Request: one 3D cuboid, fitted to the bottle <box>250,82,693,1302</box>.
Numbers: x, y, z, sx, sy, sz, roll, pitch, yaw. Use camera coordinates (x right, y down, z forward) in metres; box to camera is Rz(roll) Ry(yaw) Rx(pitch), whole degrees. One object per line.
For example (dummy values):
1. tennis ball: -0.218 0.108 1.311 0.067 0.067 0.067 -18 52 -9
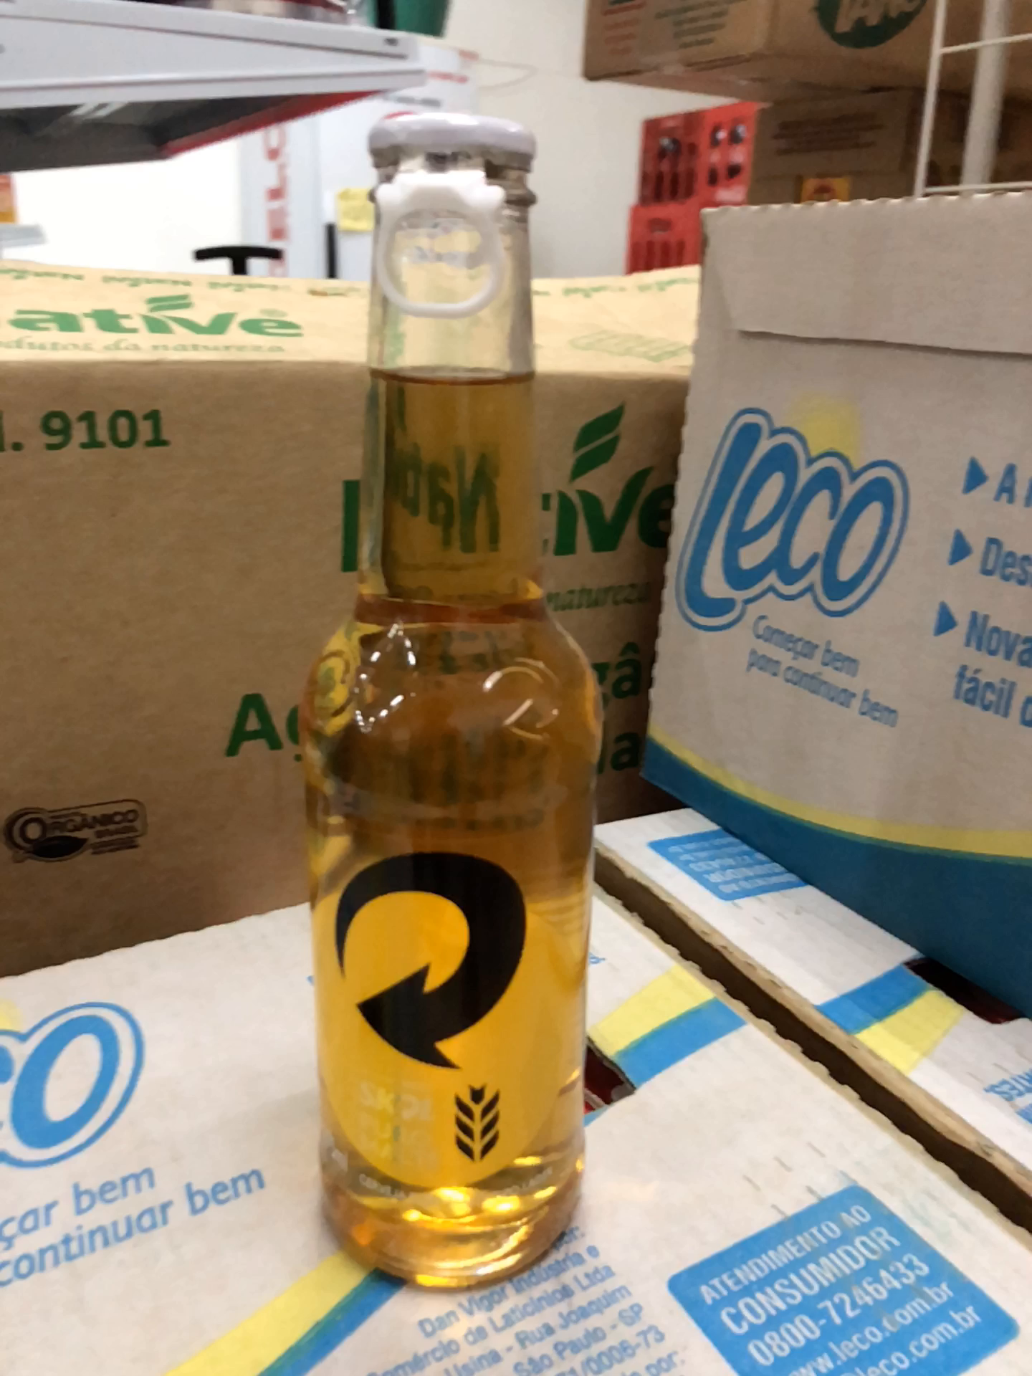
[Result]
1. bottle: -0.010 0.008 0.216 0.060 0.209 0.060 1 18 0
